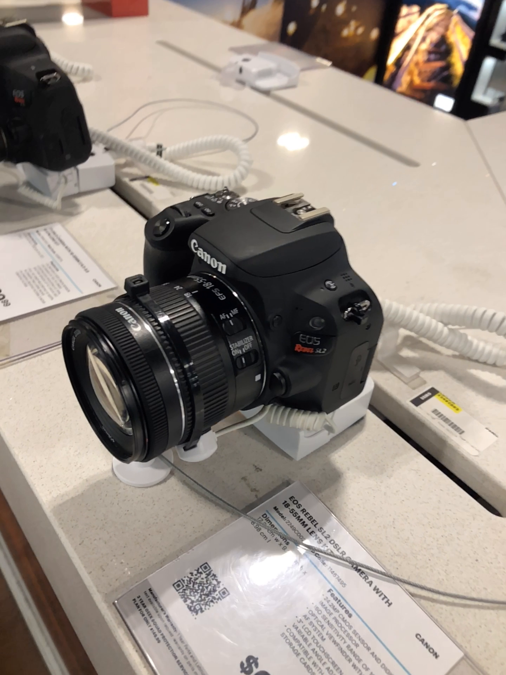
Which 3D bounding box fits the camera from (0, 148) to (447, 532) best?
[{"bbox_3d":[-0.019,-0.017,0.260,0.150,0.070,0.131,-24,49,-31],"label":"camera"}]
